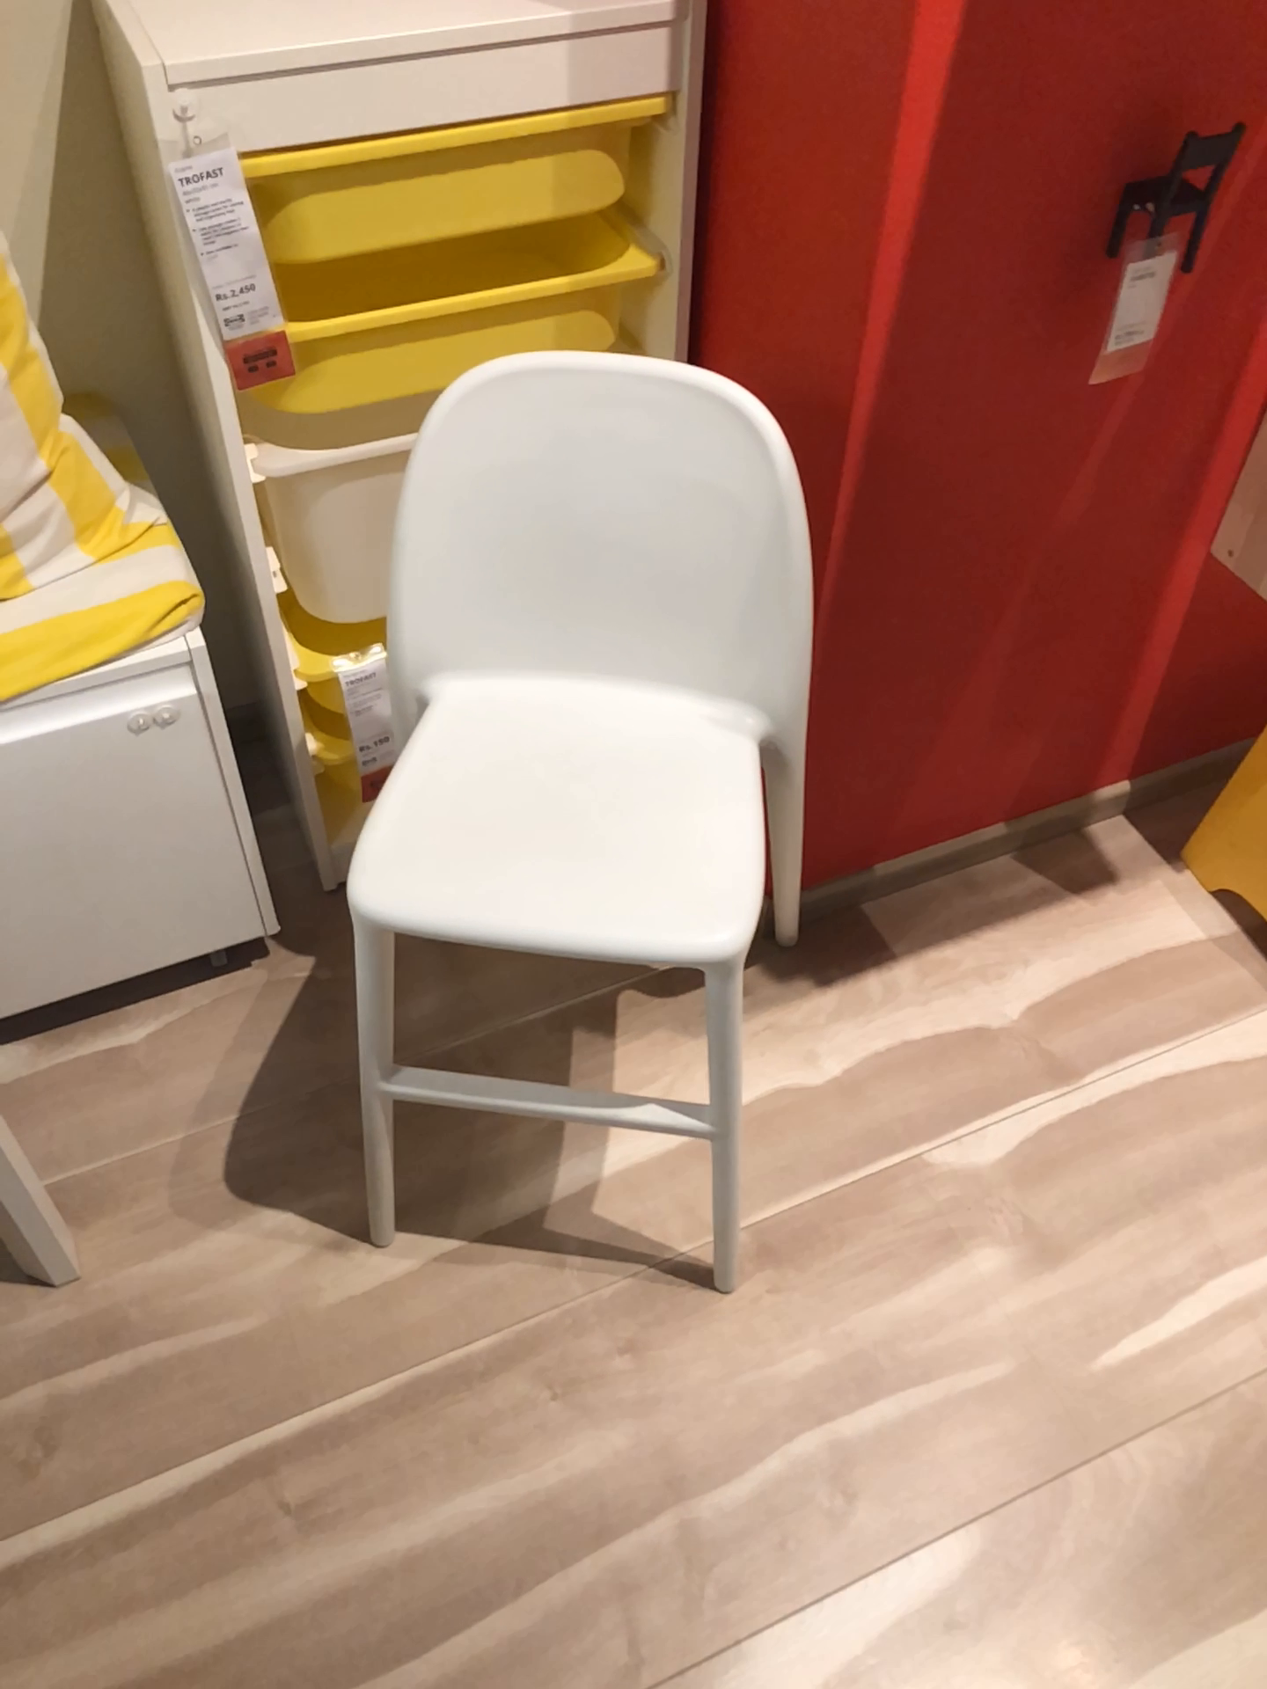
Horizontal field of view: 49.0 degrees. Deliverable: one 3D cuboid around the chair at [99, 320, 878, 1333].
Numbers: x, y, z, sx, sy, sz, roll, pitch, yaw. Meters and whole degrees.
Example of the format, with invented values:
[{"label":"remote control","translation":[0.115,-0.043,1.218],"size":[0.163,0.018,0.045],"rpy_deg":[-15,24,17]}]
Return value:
[{"label":"chair","translation":[-0.063,0.027,1.165],"size":[0.420,0.706,0.463],"rpy_deg":[6,51,3]}]
